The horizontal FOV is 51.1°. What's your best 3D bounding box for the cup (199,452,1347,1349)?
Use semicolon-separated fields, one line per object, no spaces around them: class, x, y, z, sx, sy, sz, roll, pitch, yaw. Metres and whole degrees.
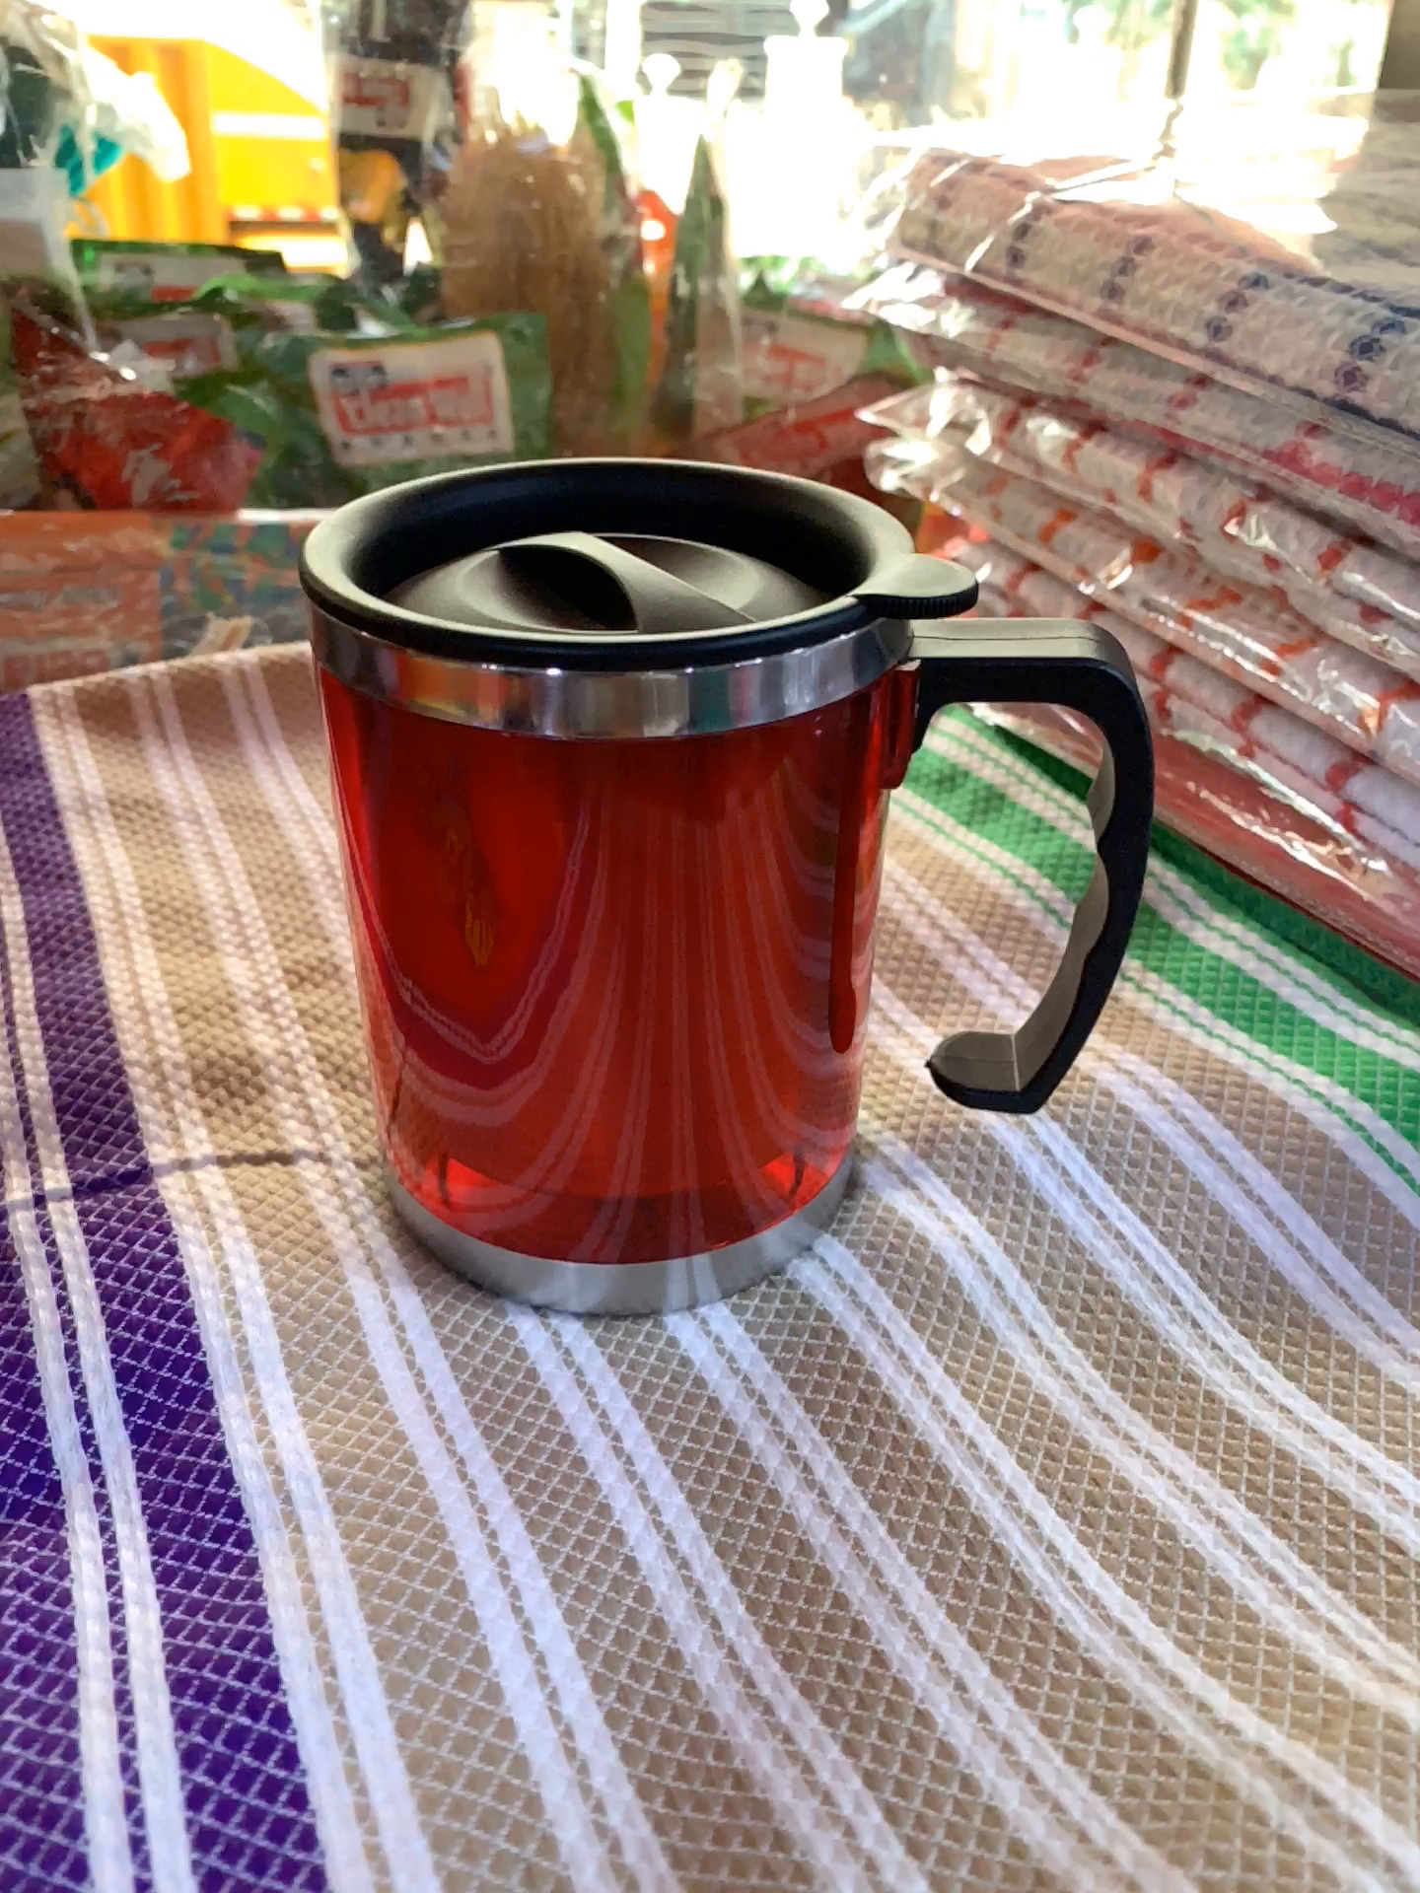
cup;0.008;-0.013;0.236;0.129;0.102;0.100;2;30;1
